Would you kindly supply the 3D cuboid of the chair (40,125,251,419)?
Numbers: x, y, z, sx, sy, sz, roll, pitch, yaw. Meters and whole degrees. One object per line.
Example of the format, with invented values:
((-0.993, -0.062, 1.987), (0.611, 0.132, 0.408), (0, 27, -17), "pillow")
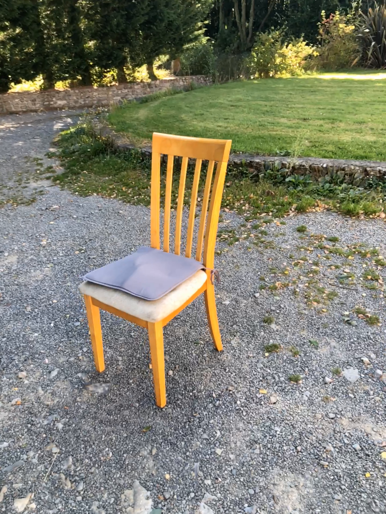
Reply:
((-0.147, 0.019, 1.802), (0.510, 0.994, 0.613), (17, 32, 32), "chair")
